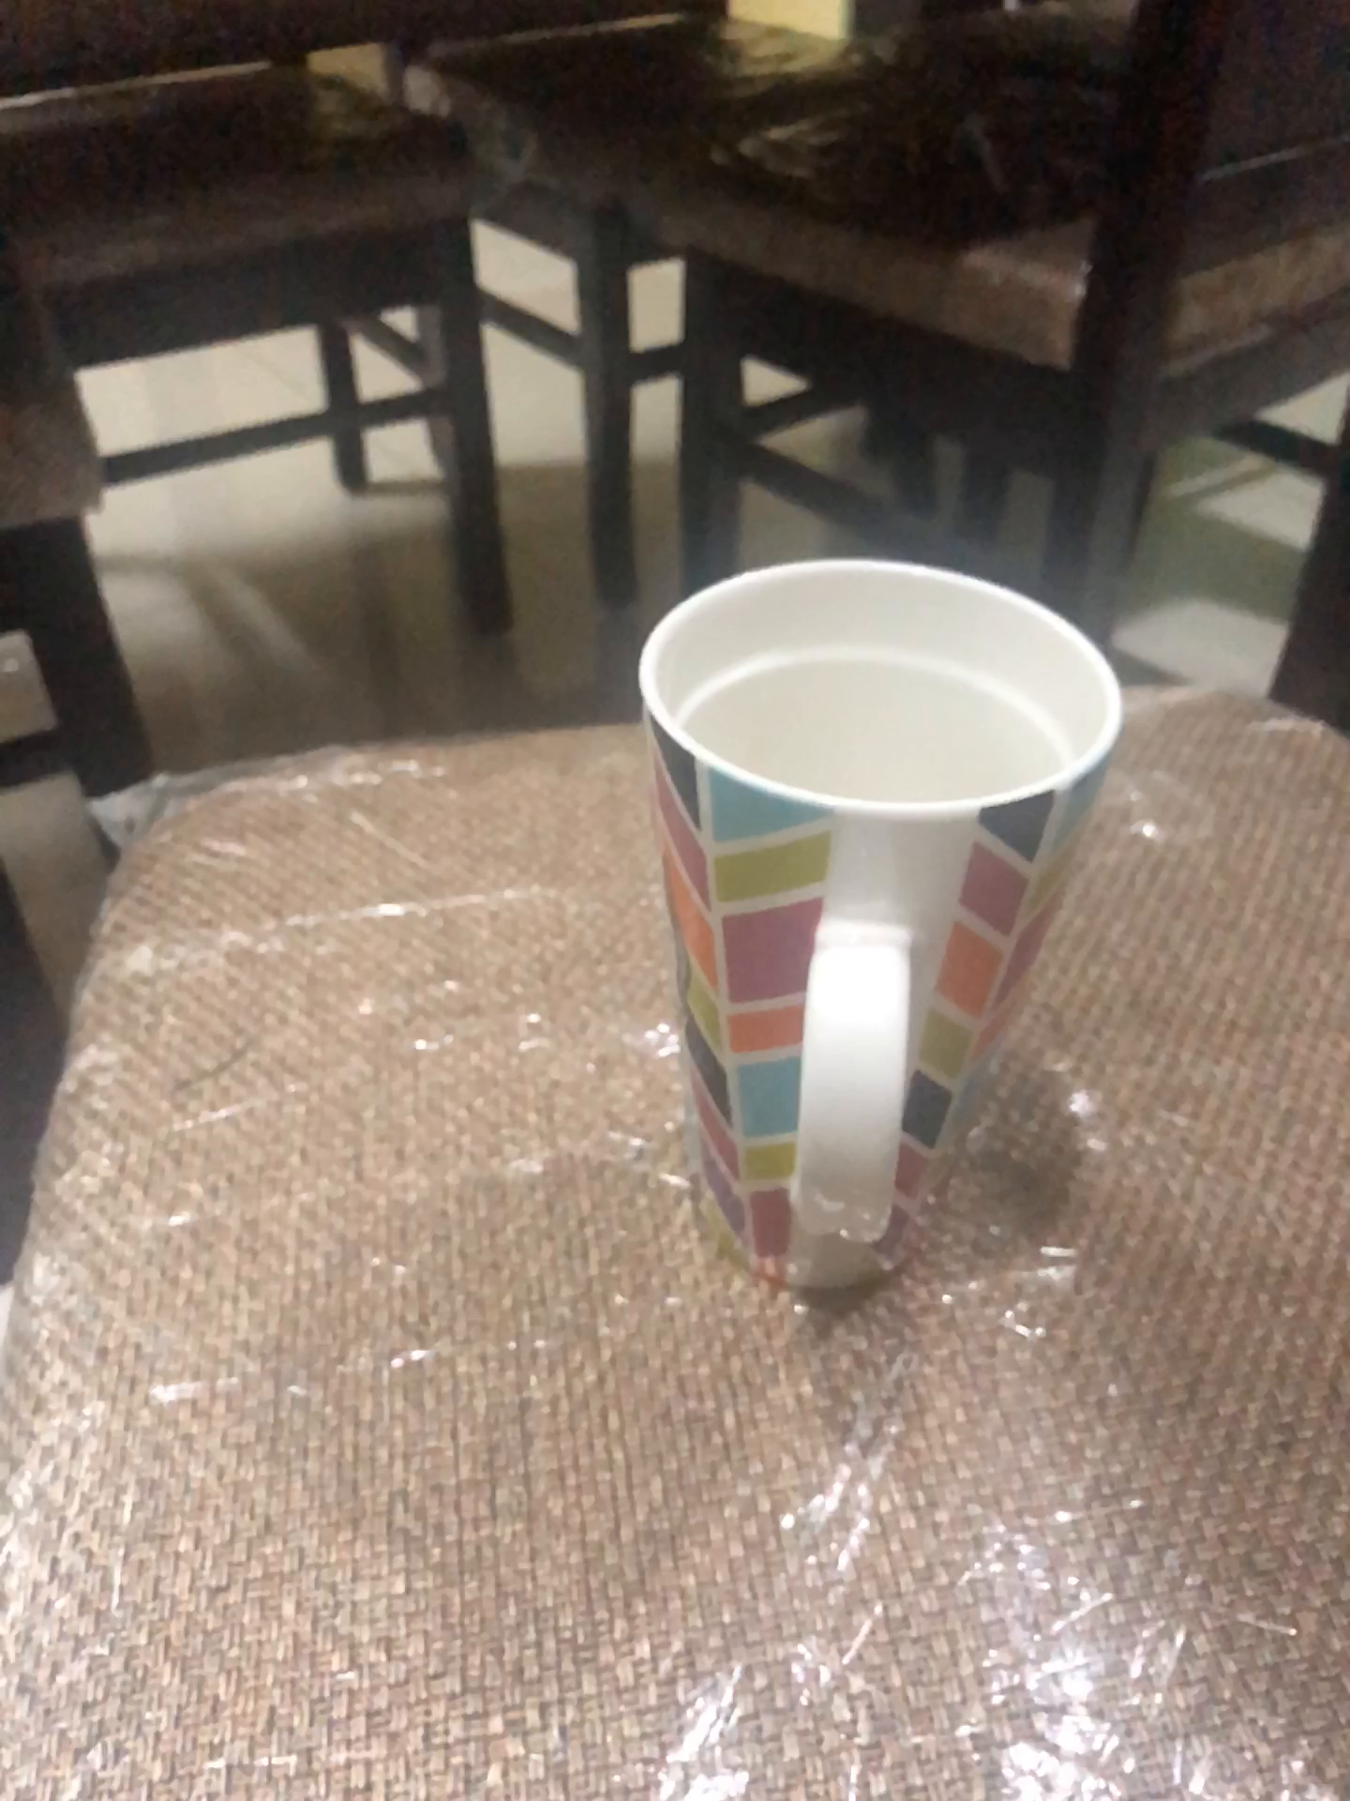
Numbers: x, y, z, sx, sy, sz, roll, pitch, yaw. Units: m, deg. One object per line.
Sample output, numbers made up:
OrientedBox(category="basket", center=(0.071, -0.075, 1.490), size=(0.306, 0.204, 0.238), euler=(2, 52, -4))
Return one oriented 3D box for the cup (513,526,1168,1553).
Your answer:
OrientedBox(category="cup", center=(0.031, 0.024, 0.301), size=(0.090, 0.139, 0.130), euler=(9, 39, 7))
